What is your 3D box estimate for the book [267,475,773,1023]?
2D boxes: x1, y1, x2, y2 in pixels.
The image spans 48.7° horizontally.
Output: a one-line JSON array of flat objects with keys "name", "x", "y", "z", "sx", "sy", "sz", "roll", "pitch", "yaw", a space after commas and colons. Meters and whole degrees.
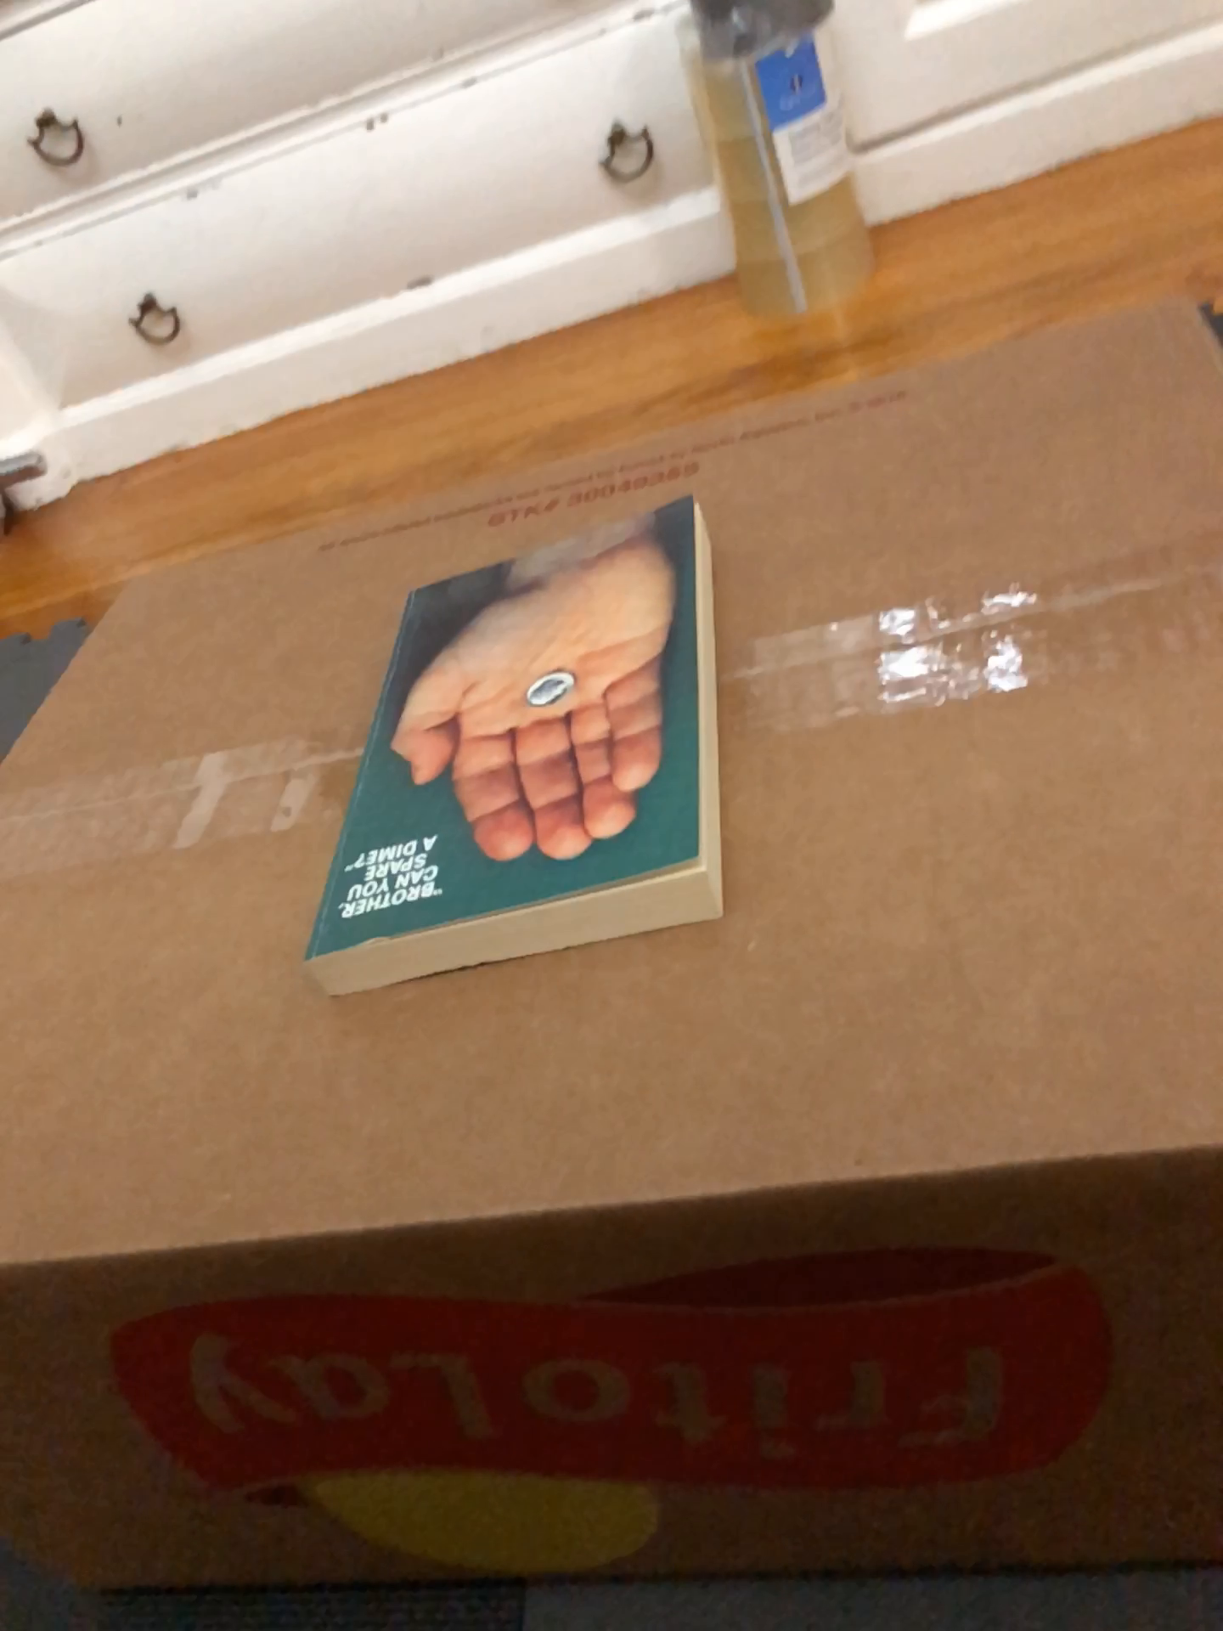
[{"name": "book", "x": -0.020, "y": -0.028, "z": 0.385, "sx": 0.120, "sy": 0.020, "sz": 0.181, "roll": -13, "pitch": 39, "yaw": 14}]
